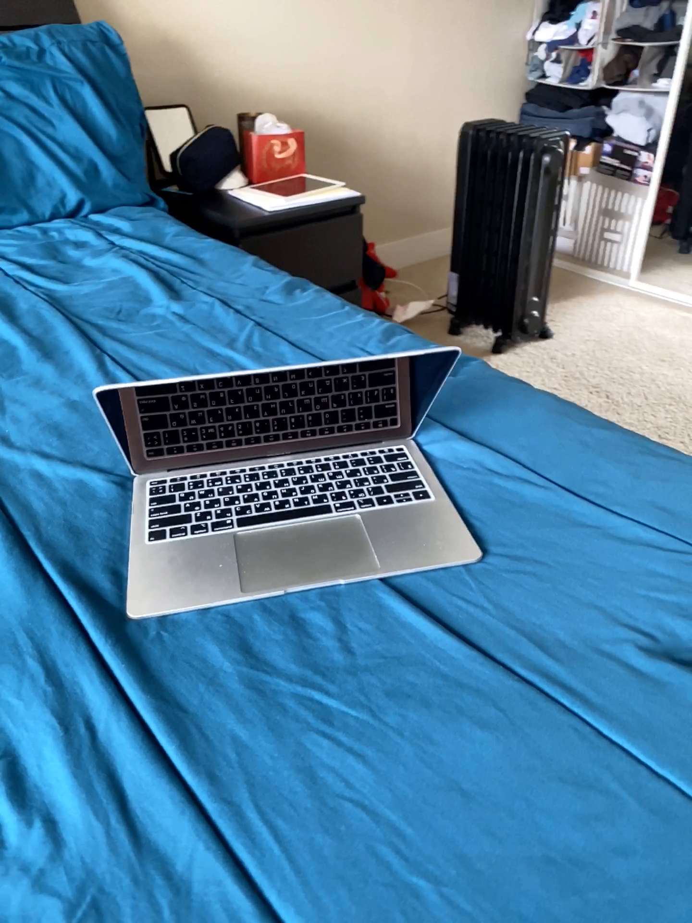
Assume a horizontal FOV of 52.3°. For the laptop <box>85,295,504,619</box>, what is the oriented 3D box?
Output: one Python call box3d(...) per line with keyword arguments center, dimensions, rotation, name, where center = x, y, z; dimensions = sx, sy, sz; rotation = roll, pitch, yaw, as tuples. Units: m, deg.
box3d(center=(-0.051, -0.021, 0.623), dimensions=(0.295, 0.161, 0.216), rotation=(-8, 33, -10), name="laptop")
